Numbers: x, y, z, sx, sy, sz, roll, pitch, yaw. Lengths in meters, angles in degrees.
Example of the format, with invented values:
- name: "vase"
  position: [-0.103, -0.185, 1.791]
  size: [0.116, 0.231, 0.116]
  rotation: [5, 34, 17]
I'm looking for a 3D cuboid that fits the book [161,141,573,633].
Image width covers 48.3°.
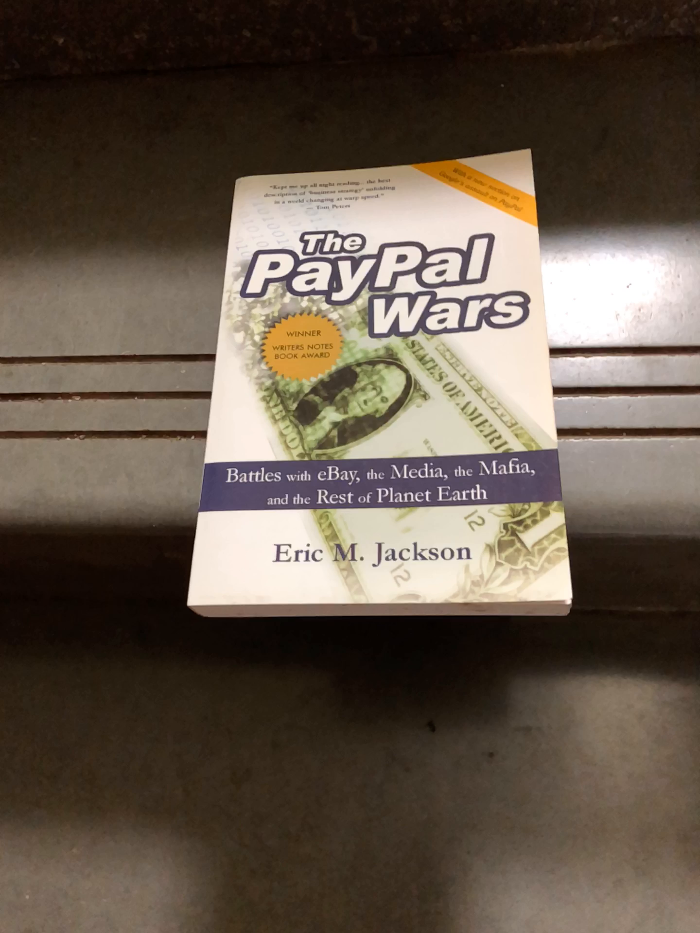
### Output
- name: "book"
  position: [0.008, -0.041, 0.340]
  size: [0.150, 0.030, 0.220]
  rotation: [-2, 66, 8]
